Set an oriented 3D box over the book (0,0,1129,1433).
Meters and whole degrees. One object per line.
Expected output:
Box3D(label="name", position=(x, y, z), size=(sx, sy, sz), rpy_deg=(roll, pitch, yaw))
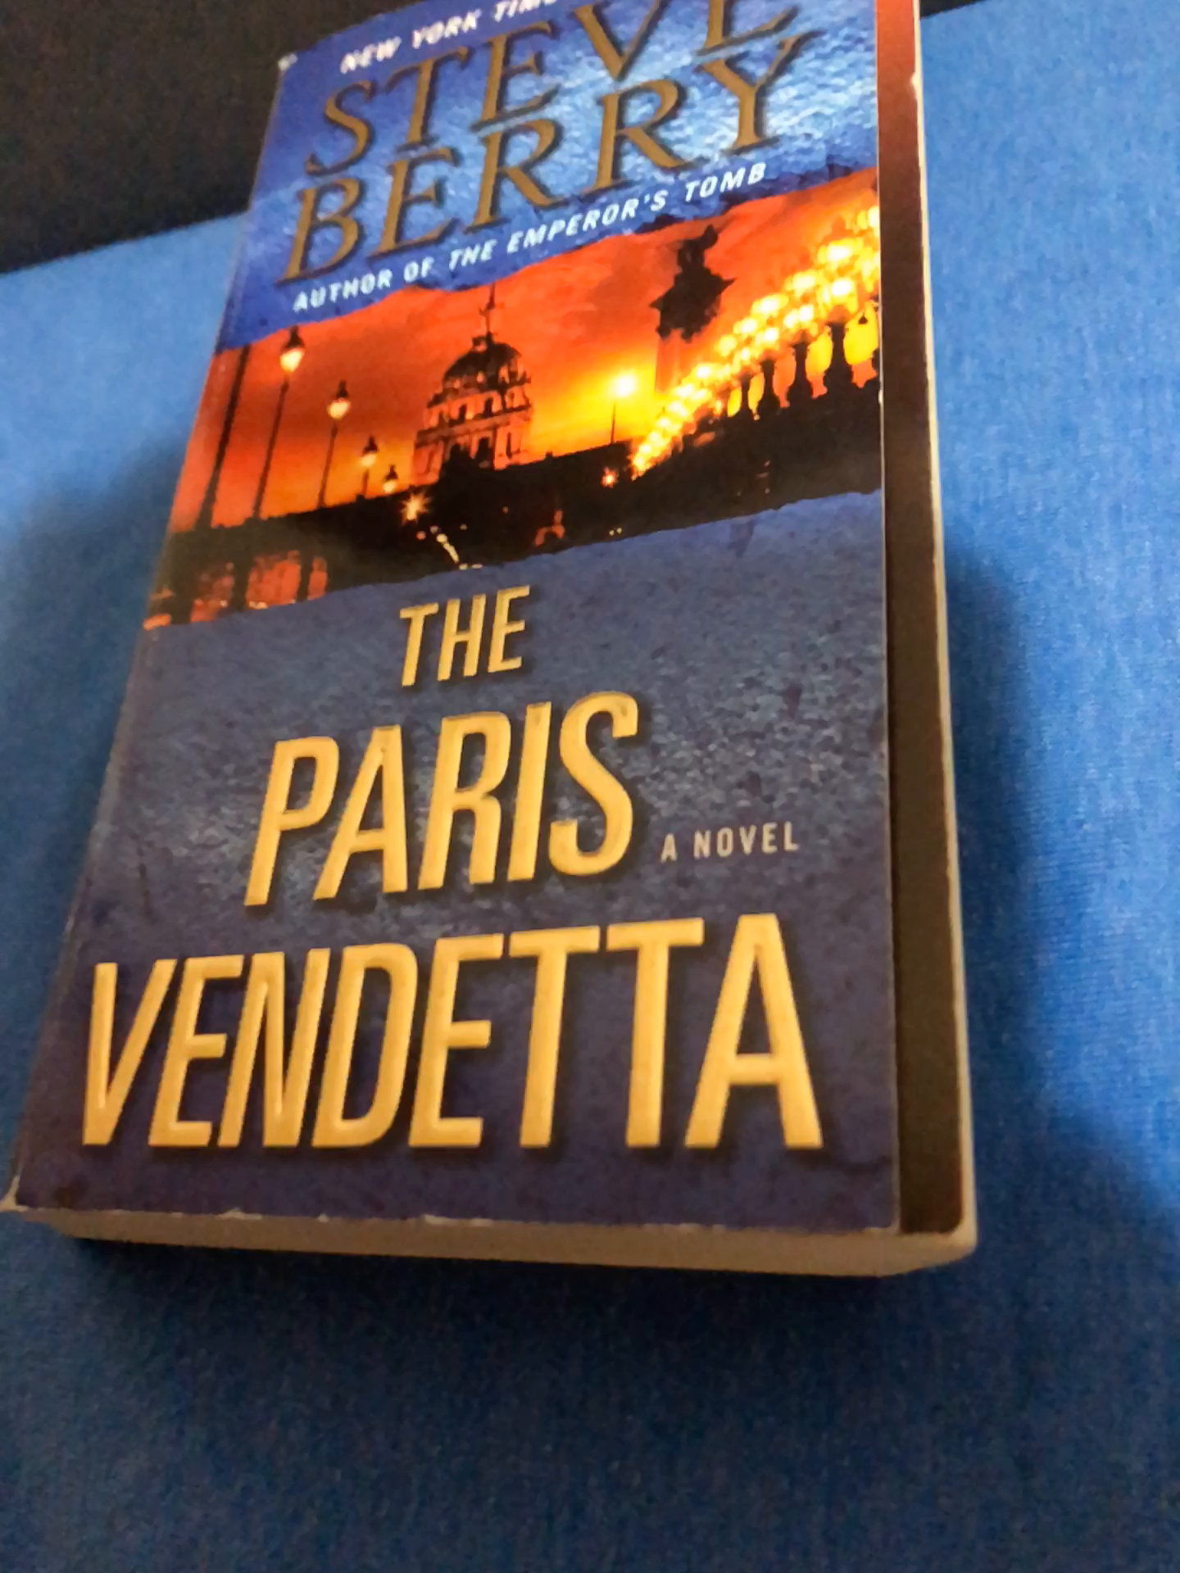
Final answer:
Box3D(label="book", position=(-0.004, -0.032, 0.176), size=(0.120, 0.050, 0.200), rpy_deg=(-3, 62, 17))
